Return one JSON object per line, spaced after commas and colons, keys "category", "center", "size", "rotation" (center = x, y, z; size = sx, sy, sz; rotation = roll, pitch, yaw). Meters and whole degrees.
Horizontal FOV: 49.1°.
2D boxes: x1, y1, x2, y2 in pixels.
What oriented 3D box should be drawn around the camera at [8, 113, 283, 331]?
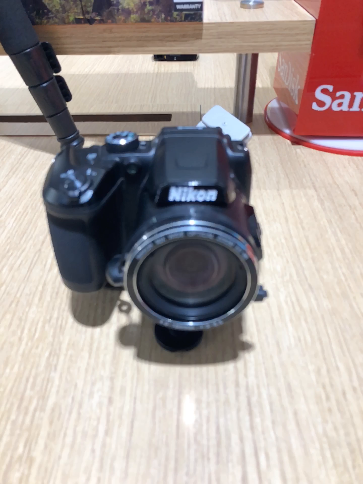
{"category": "camera", "center": [-0.014, -0.015, 0.207], "size": [0.103, 0.070, 0.093], "rotation": [-1, 39, 0]}
